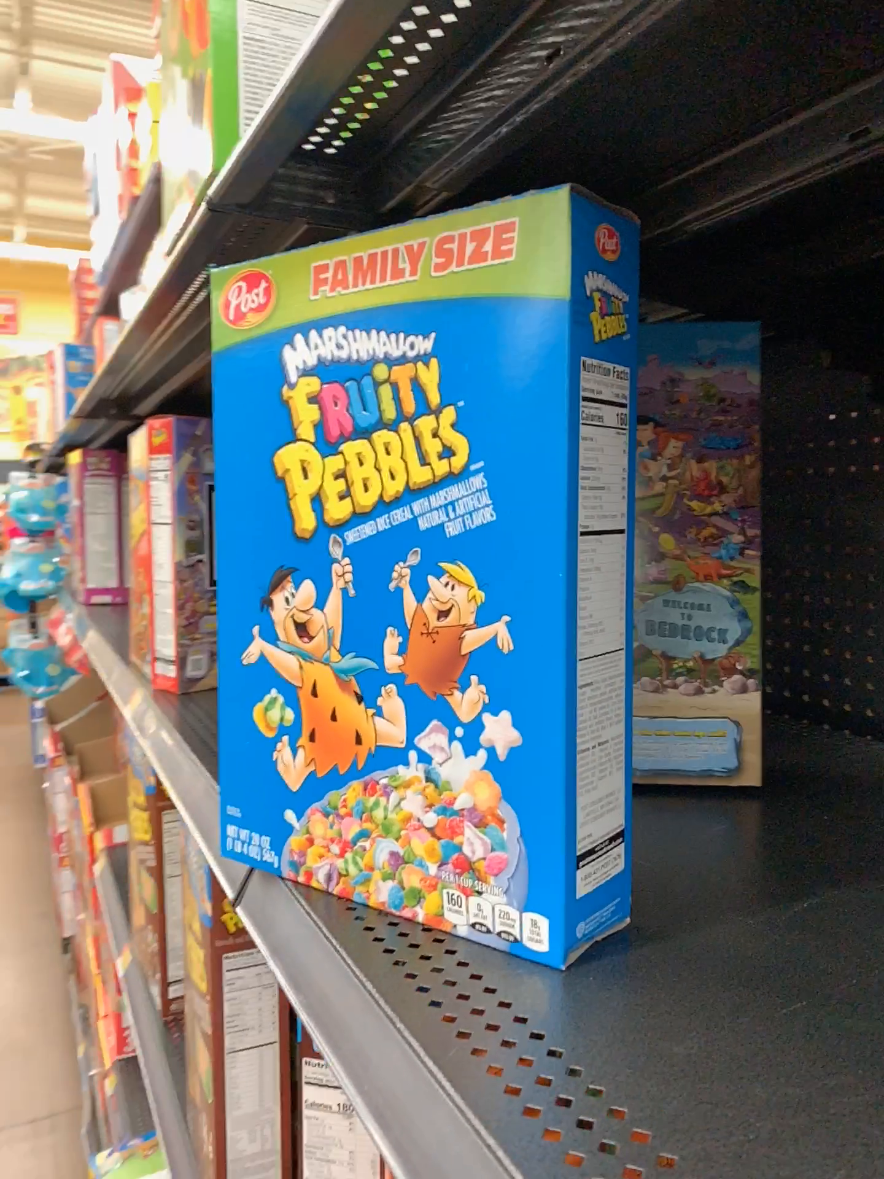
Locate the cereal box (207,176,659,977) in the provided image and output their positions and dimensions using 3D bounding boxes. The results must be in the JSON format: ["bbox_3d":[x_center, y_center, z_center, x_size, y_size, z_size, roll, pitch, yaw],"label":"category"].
[{"bbox_3d":[-0.014,-0.009,0.468,0.230,0.330,0.070,4,6,36],"label":"cereal box"}]
